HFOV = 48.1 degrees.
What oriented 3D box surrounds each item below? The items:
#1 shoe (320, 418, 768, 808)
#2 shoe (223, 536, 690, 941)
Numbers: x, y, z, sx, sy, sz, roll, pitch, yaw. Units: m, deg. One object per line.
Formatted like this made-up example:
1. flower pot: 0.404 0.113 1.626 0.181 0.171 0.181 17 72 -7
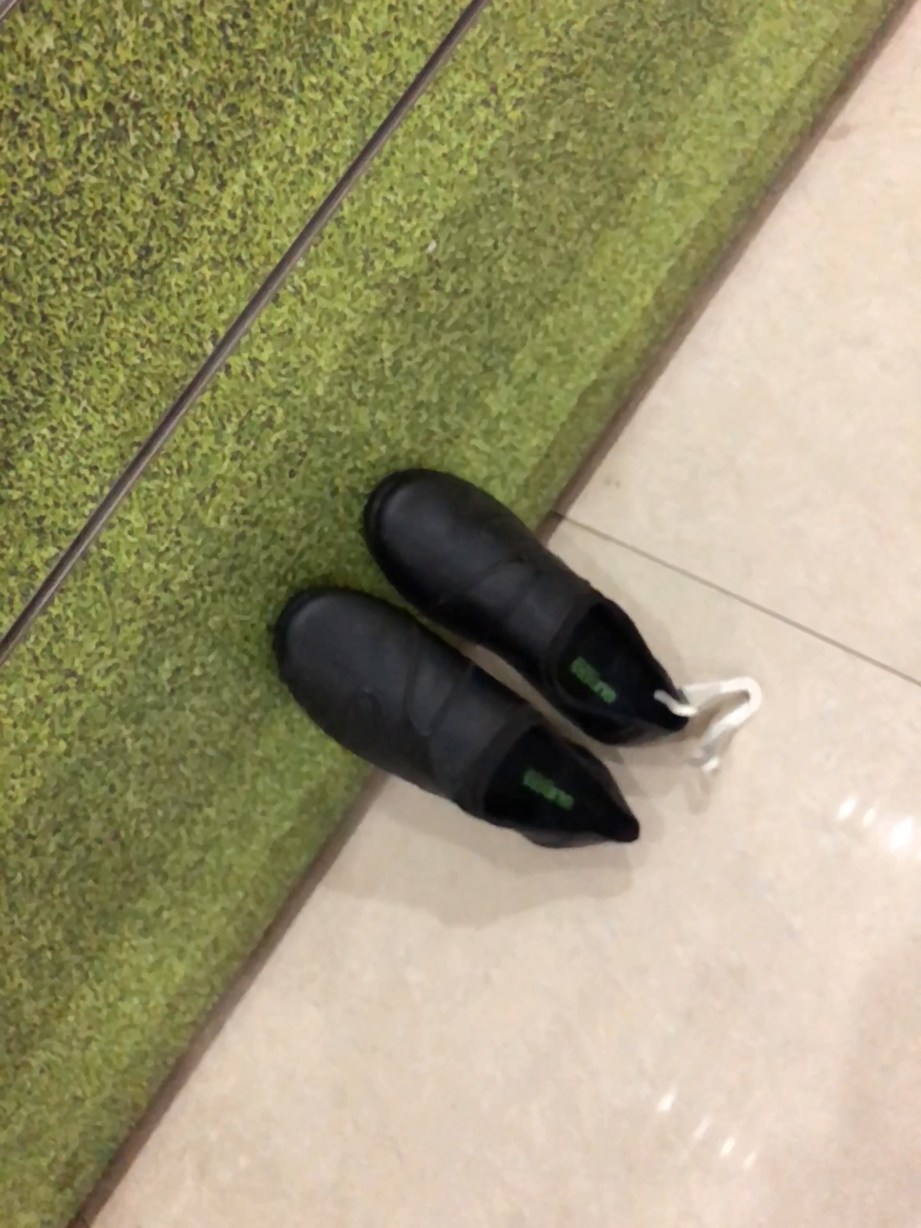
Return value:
1. shoe: 0.042 0.001 0.578 0.236 0.081 0.080 36 85 -7
2. shoe: -0.004 0.066 0.571 0.236 0.081 0.090 36 85 -7
